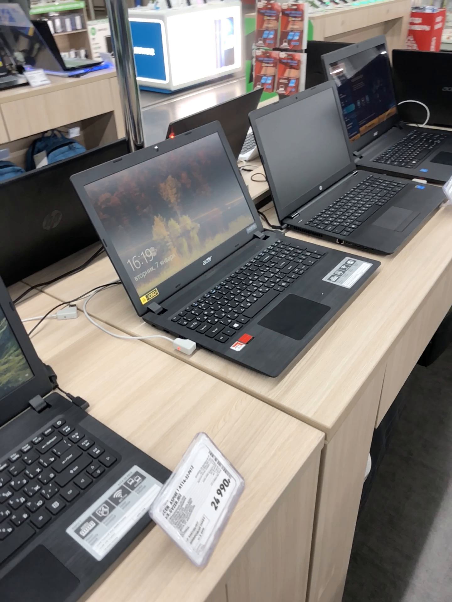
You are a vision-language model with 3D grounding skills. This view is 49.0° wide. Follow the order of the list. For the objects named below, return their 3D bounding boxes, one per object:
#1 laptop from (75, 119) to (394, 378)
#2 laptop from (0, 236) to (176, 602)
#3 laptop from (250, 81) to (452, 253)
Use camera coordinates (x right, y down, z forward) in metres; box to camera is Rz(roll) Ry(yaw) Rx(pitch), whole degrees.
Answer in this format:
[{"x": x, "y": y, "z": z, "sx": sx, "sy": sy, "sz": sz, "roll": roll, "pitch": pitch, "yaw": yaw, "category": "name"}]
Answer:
[{"x": 0.028, "y": -0.131, "z": 0.840, "sx": 0.368, "sy": 0.208, "sz": 0.374, "roll": 21, "pitch": 41, "yaw": 30, "category": "laptop"}, {"x": -0.269, "y": 0.134, "z": 0.467, "sx": 0.301, "sy": 0.214, "sz": 0.307, "roll": 23, "pitch": 41, "yaw": 31, "category": "laptop"}, {"x": 0.291, "y": -0.326, "z": 1.101, "sx": 0.338, "sy": 0.212, "sz": 0.379, "roll": 22, "pitch": 41, "yaw": 32, "category": "laptop"}]
